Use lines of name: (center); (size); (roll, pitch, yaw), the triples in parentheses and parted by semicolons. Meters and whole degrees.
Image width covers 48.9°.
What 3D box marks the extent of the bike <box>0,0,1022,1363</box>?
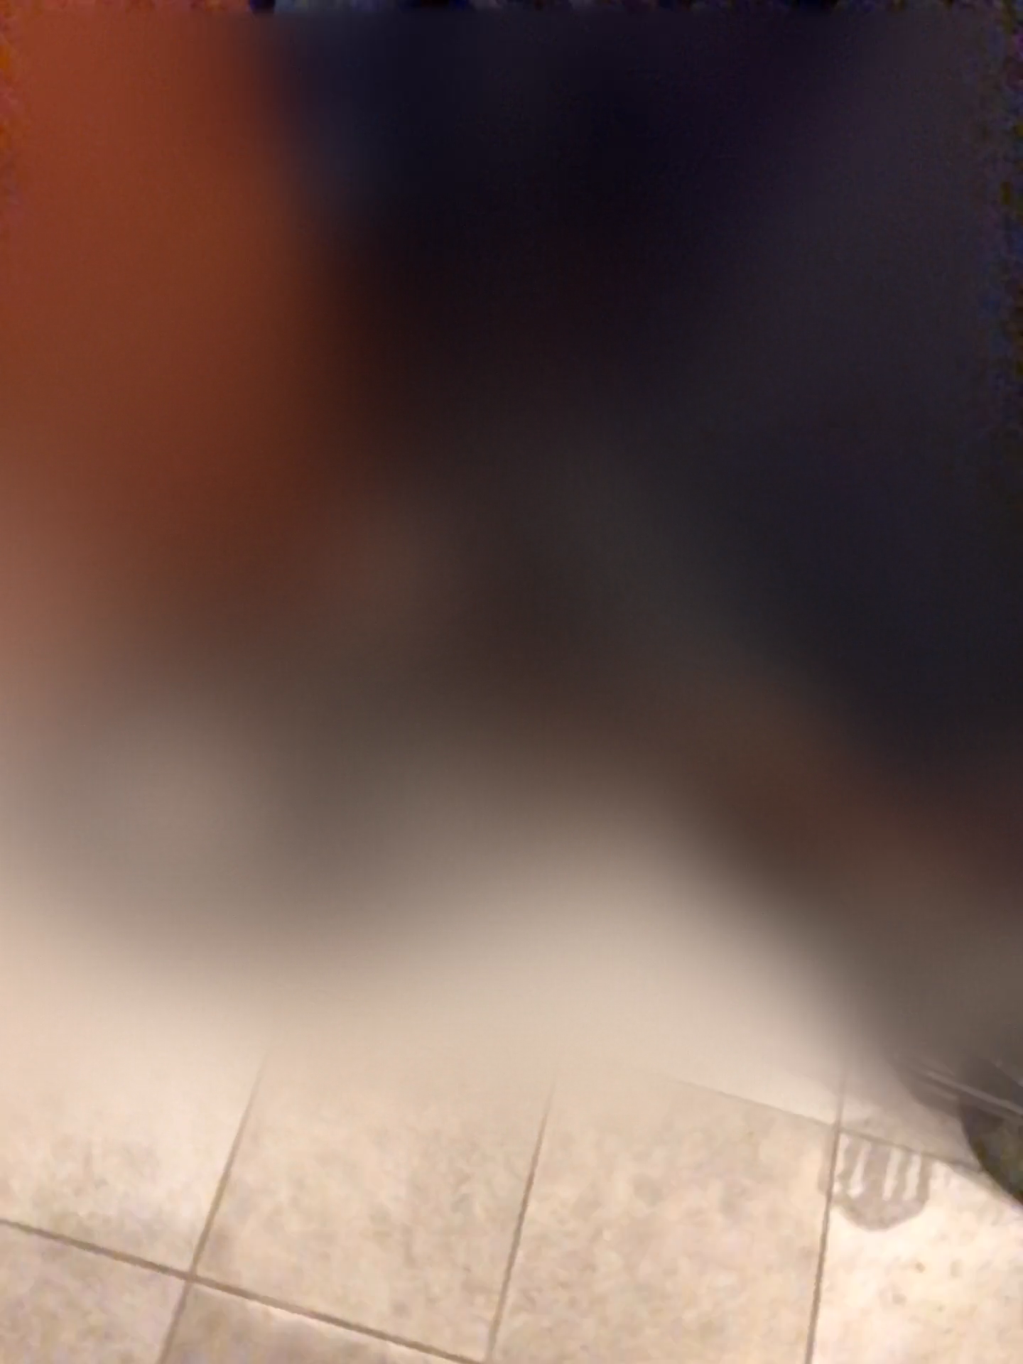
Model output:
bike: (0.261, 0.135, 0.790); (1.354, 0.856, 0.527); (18, 66, 3)
